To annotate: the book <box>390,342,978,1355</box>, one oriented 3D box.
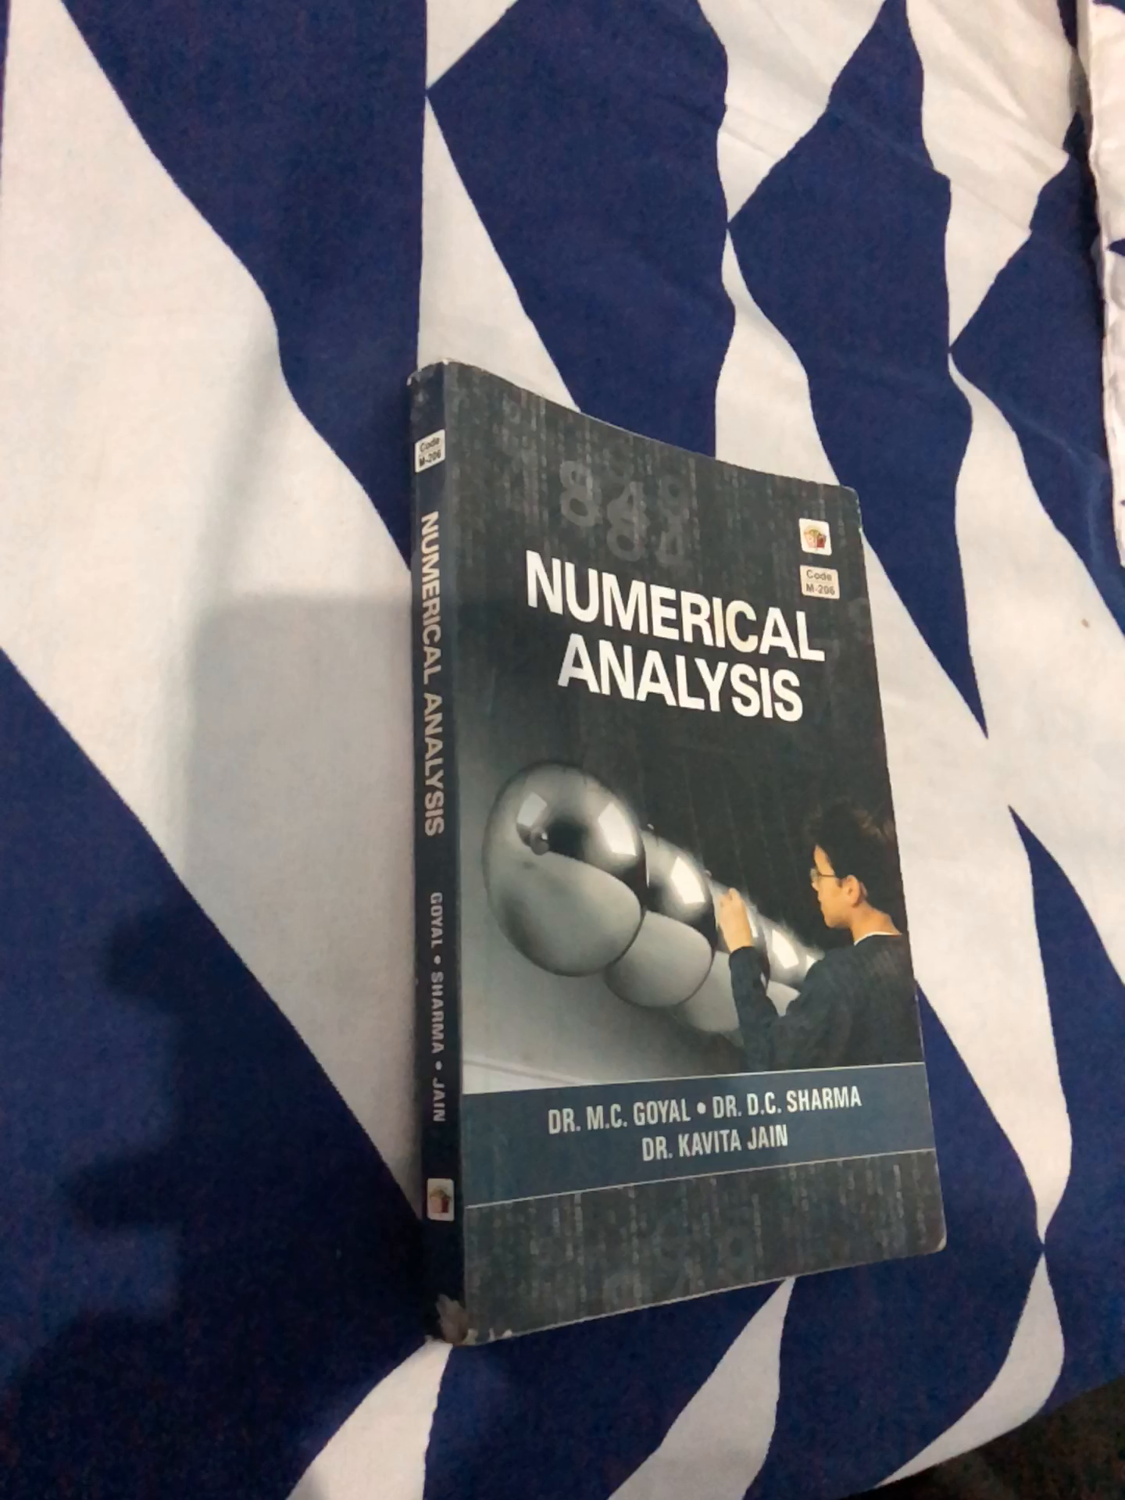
[{"bbox_3d":[0.030,0.020,0.287,0.141,0.030,0.190,7,76,-36],"label":"book"}]
